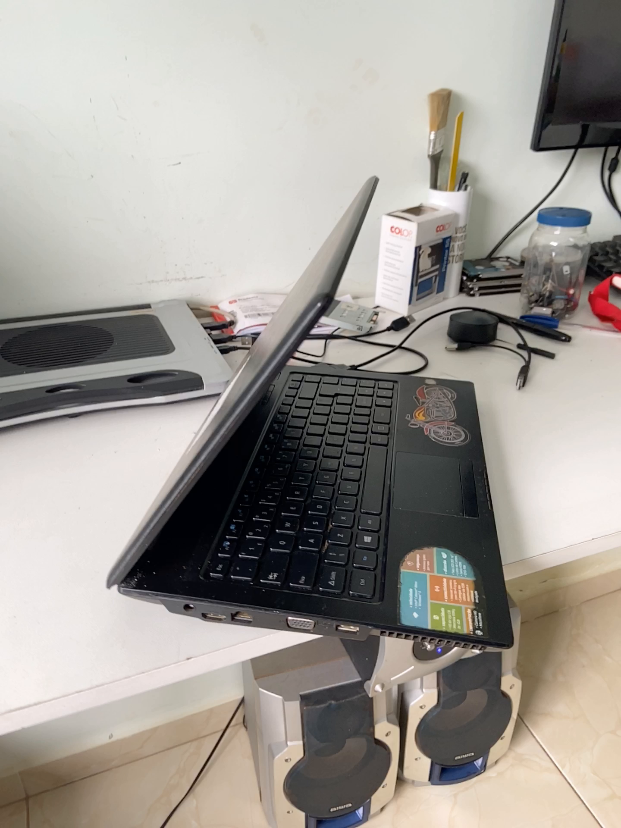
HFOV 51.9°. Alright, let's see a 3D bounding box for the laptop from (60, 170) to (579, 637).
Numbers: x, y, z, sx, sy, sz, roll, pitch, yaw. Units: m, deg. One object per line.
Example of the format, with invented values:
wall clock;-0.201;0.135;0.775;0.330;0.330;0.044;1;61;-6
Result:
laptop;0.025;-0.048;0.471;0.233;0.189;0.332;5;30;7
